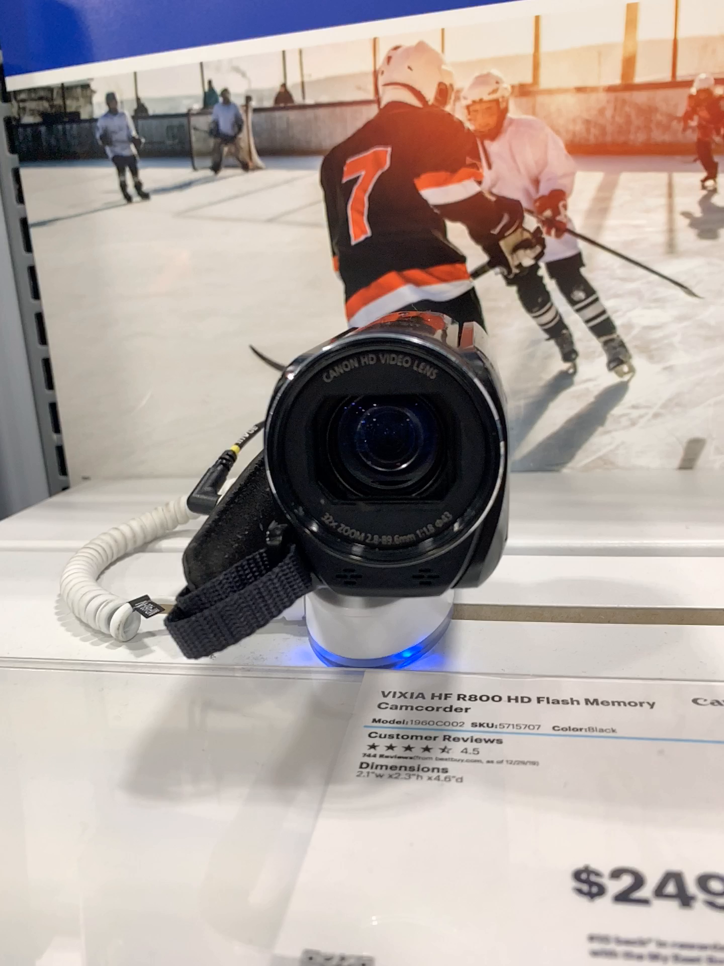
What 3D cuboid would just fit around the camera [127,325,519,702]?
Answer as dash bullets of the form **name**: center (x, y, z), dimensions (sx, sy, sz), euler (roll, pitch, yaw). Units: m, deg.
- **camera**: center (0.004, -0.006, 0.210), dimensions (0.072, 0.062, 0.140), euler (0, 15, 9)
